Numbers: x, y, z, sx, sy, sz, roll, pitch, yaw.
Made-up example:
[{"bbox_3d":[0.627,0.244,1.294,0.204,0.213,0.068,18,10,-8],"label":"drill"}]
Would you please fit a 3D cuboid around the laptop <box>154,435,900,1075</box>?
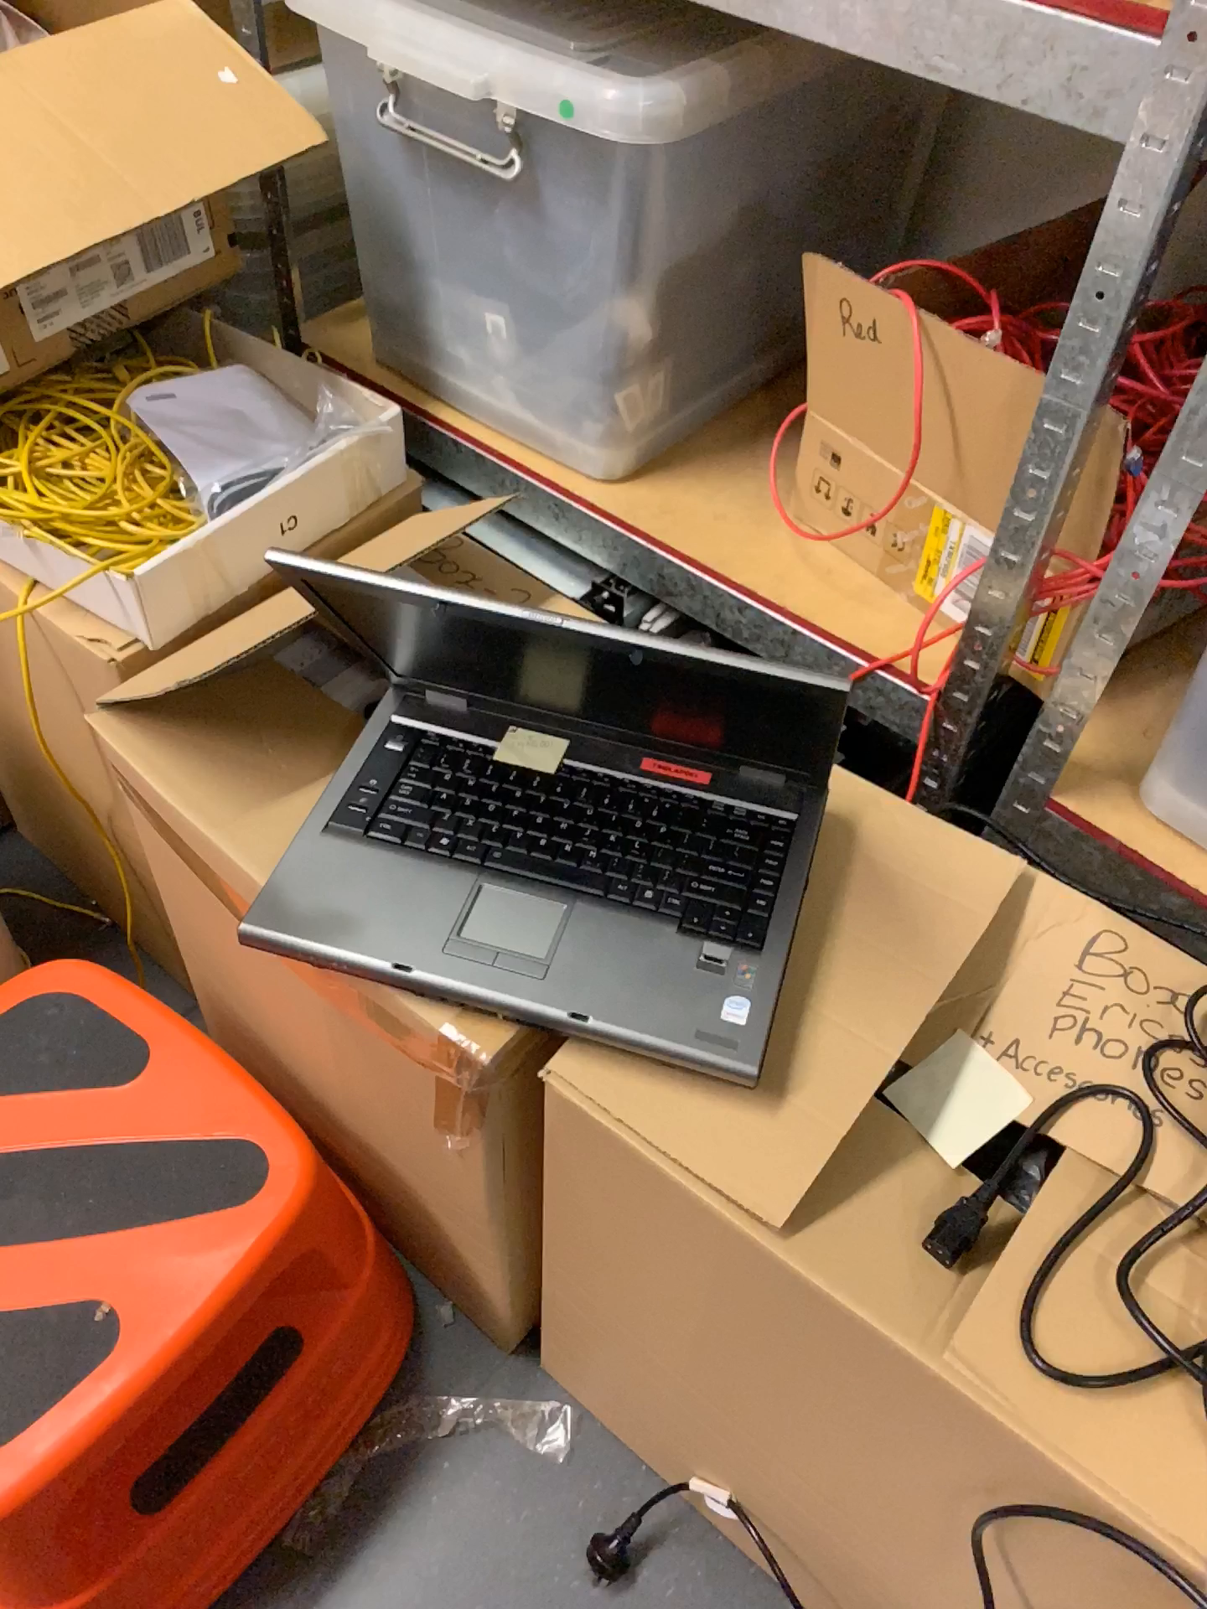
[{"bbox_3d":[-0.034,-0.041,0.793,0.360,0.238,0.263,14,47,10],"label":"laptop"}]
